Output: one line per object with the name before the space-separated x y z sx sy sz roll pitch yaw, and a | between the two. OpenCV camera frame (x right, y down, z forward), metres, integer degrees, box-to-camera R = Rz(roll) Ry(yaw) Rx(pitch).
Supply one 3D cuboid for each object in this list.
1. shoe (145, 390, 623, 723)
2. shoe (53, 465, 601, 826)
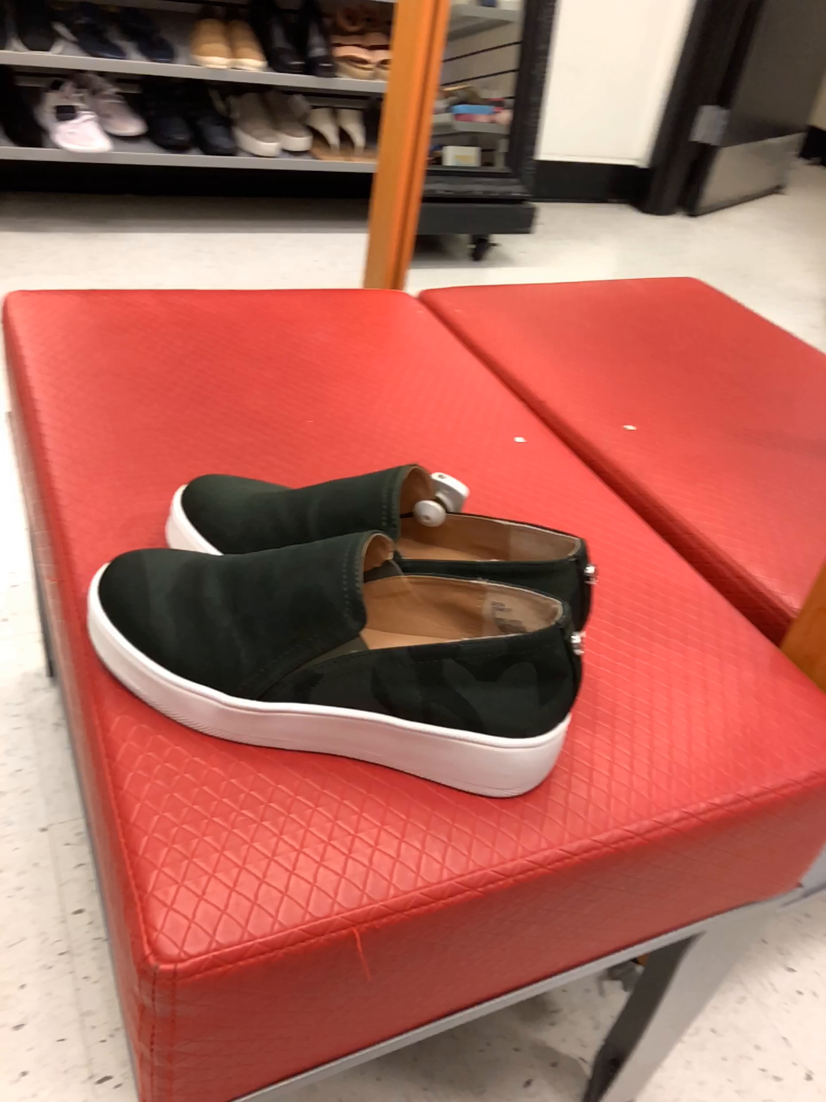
shoe | -0.019 -0.003 0.523 0.249 0.090 0.089 17 35 11
shoe | -0.038 0.043 0.453 0.243 0.090 0.091 13 35 4
